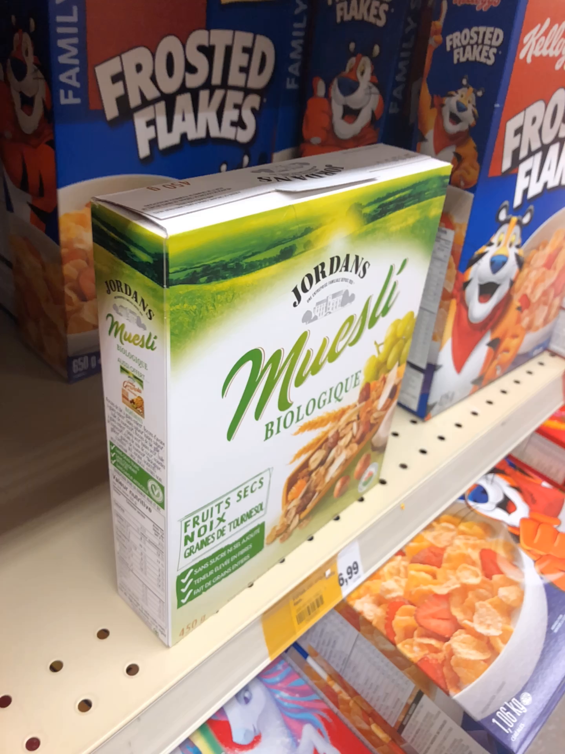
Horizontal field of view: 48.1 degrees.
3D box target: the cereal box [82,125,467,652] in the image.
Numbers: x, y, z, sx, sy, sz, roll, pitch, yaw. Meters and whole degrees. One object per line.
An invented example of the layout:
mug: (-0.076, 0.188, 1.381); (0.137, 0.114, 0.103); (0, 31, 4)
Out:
cereal box: (-0.001, 0.000, 0.321); (0.050, 0.218, 0.181); (31, 40, 32)
